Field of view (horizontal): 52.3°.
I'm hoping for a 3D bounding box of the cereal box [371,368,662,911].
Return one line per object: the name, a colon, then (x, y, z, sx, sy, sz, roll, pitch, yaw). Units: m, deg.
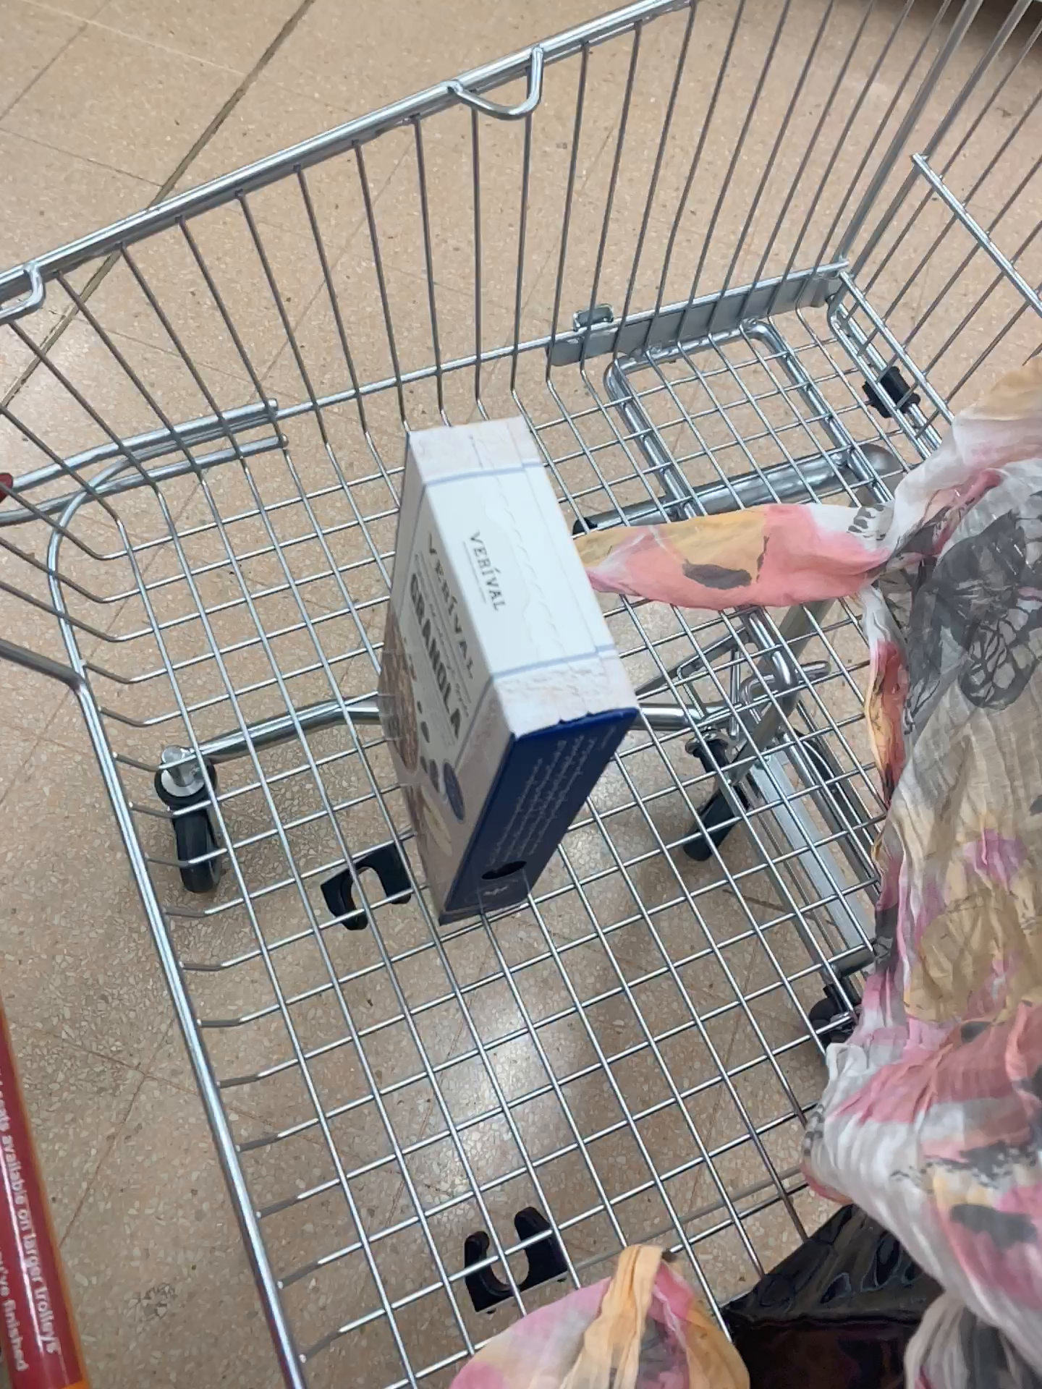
cereal box: (-0.019, -0.007, 0.470, 0.050, 0.229, 0.141, -12, 67, -17)
